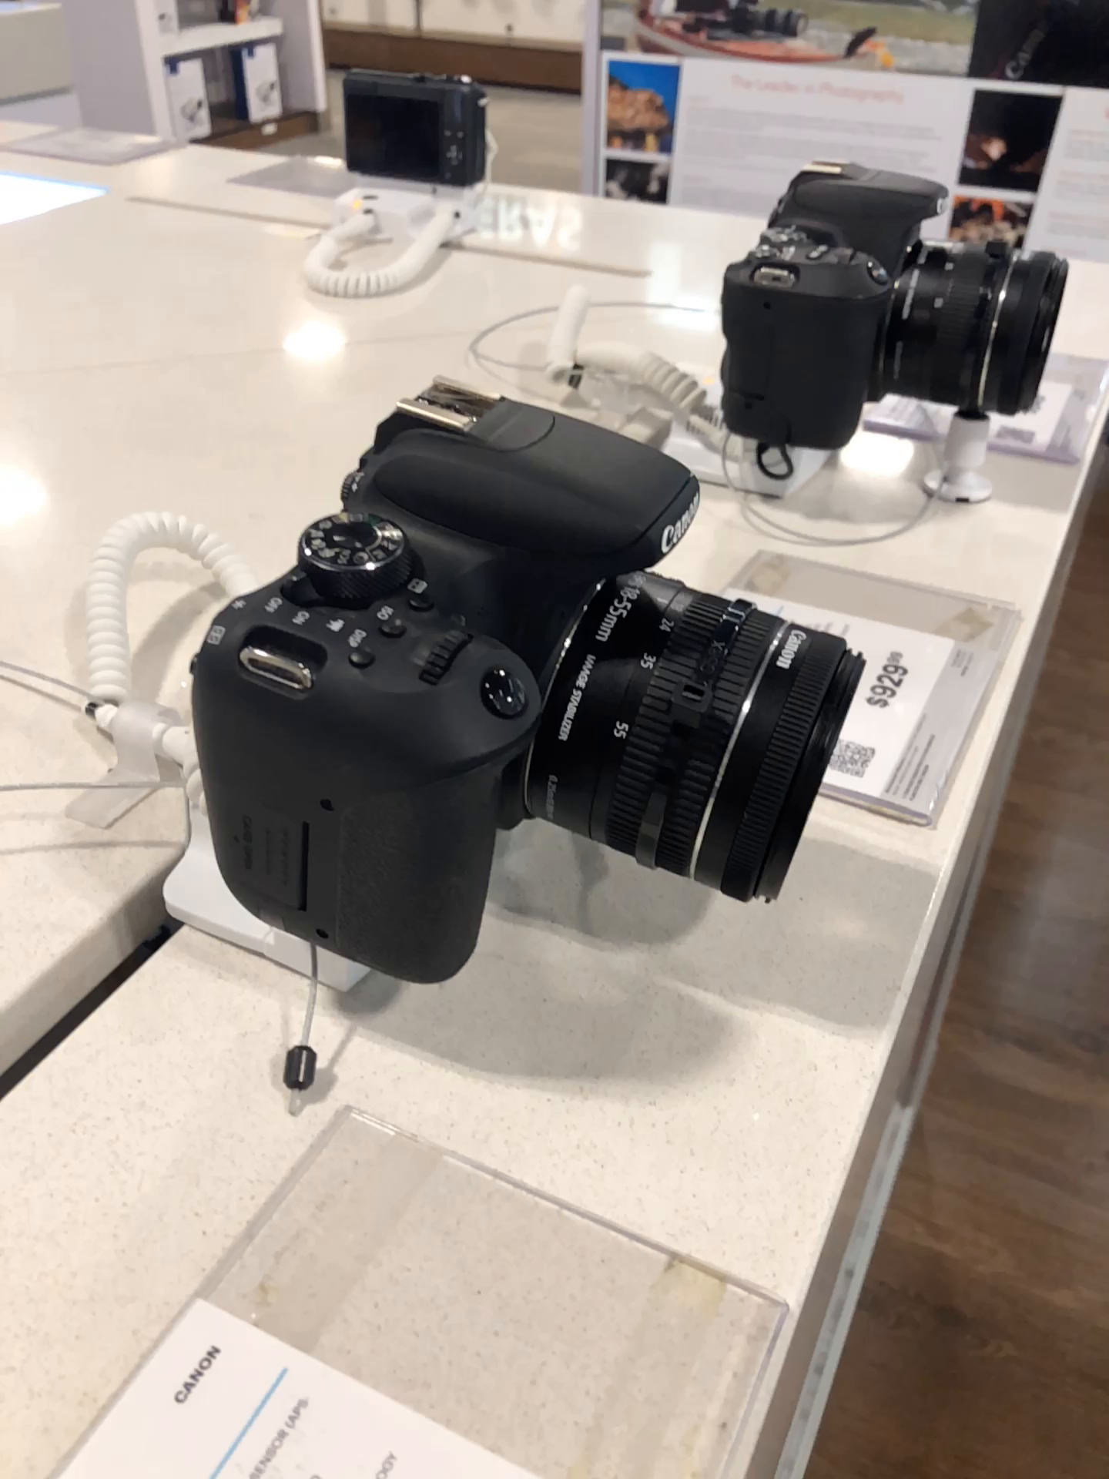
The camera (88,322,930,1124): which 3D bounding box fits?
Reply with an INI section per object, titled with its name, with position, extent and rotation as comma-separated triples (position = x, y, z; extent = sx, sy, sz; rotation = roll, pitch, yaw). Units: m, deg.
[camera]
position = 0.001, -0.018, 0.284
extent = 0.130, 0.099, 0.141
rotation = 14, 38, 17
